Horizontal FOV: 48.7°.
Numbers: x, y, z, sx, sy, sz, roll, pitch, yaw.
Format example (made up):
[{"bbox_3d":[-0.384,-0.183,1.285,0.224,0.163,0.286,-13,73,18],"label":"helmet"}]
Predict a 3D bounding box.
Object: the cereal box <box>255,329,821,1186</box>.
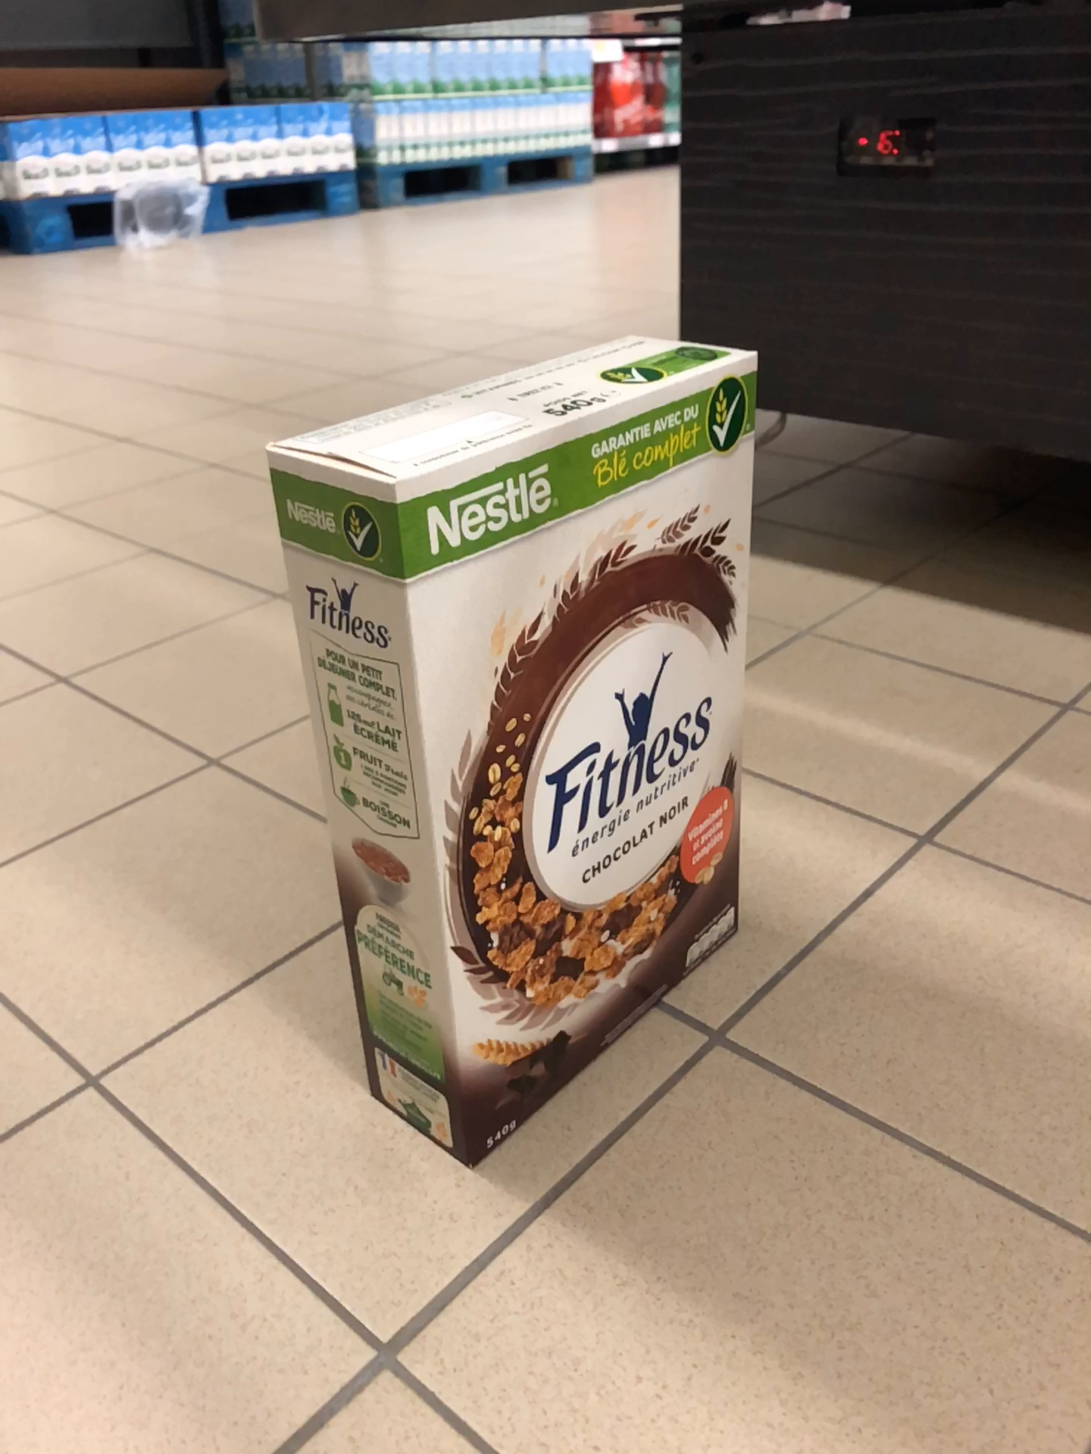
[{"bbox_3d":[0.016,0.003,0.493,0.080,0.278,0.211,21,37,38],"label":"cereal box"}]
